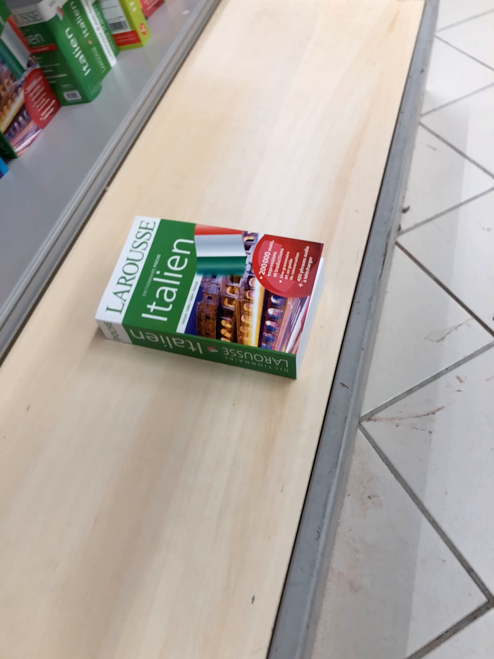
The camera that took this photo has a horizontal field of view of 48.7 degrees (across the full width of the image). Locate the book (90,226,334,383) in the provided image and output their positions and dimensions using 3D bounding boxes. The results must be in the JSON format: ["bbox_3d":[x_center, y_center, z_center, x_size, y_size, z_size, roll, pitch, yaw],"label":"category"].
[{"bbox_3d":[-0.026,-0.027,0.479,0.183,0.045,0.107,10,55,13],"label":"book"}]
